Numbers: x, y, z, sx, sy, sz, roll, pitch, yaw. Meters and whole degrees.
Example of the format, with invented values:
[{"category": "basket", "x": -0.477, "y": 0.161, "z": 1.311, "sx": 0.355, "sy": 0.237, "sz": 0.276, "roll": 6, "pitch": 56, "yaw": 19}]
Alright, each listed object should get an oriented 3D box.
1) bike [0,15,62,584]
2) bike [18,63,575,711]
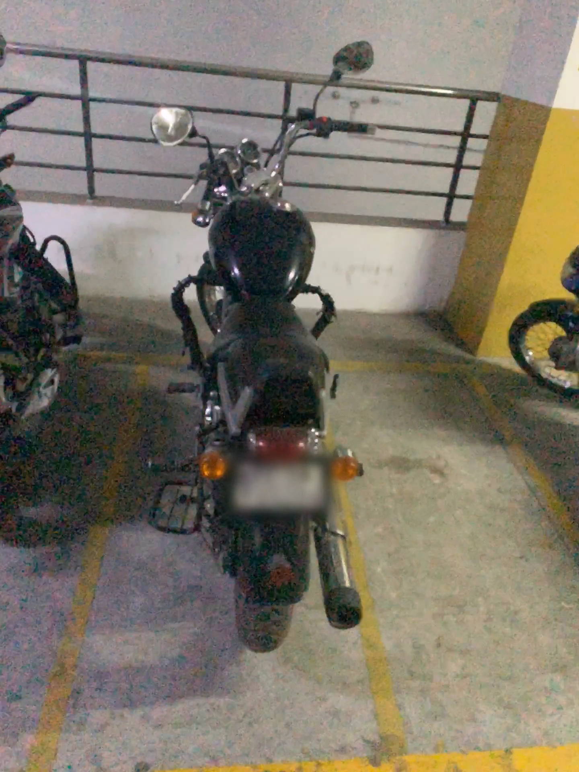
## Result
[{"category": "bike", "x": -1.368, "y": -0.439, "z": 2.120, "sx": 0.719, "sy": 1.276, "sz": 1.572, "roll": 0, "pitch": 36, "yaw": -10}, {"category": "bike", "x": -0.222, "y": -0.208, "z": 1.917, "sx": 0.851, "sy": 1.231, "sz": 1.807, "roll": -1, "pitch": 34, "yaw": -13}]
